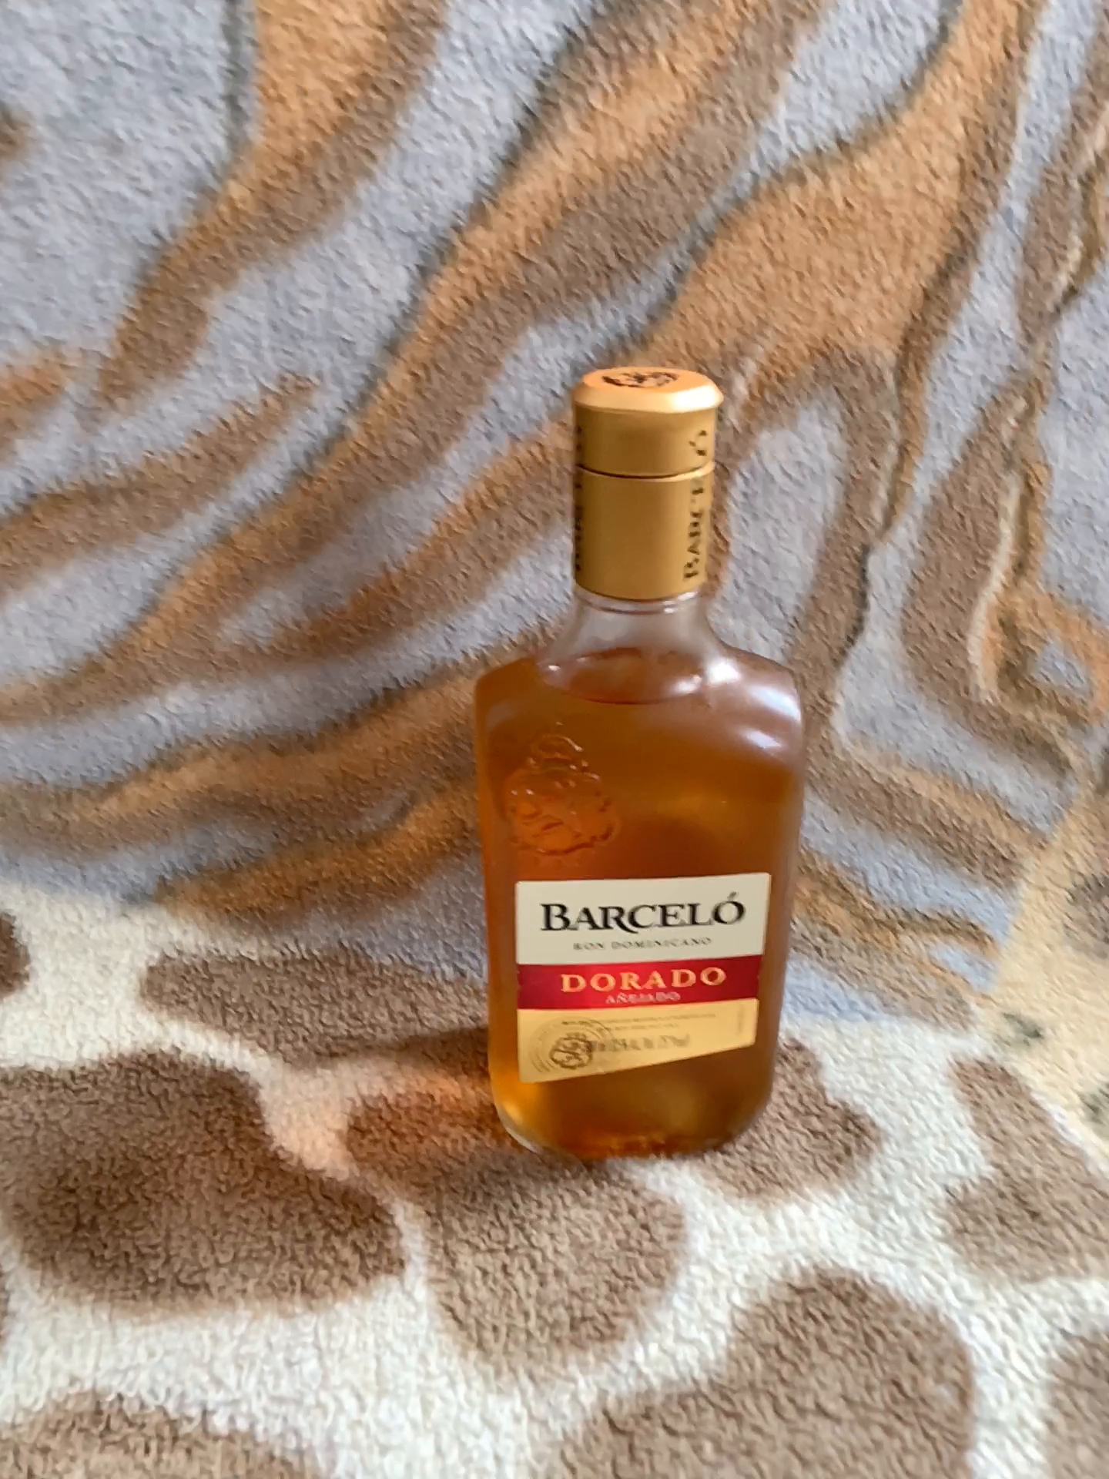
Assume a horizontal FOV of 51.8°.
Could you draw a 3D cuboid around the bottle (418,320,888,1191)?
[{"bbox_3d":[0.017,0.011,0.303,0.090,0.218,0.071,-4,29,-6],"label":"bottle"}]
